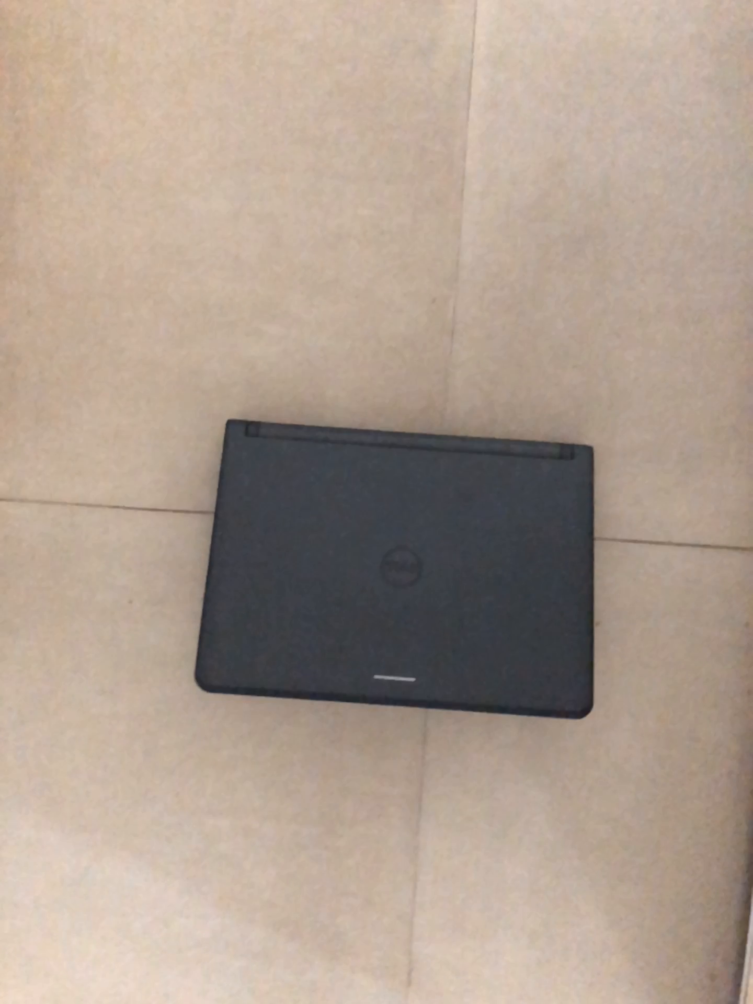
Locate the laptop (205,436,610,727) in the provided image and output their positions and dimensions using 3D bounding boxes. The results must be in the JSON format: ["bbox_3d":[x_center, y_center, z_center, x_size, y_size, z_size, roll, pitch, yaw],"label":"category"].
[{"bbox_3d":[0.021,0.066,0.713,0.314,0.064,0.220,5,97,1],"label":"laptop"}]
